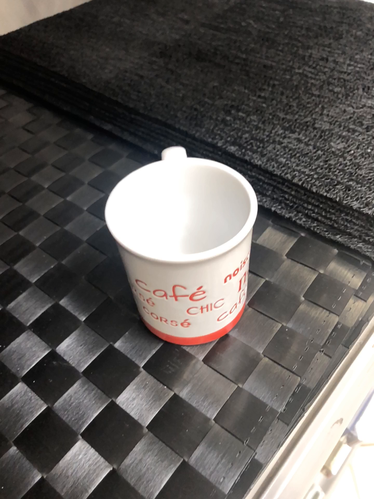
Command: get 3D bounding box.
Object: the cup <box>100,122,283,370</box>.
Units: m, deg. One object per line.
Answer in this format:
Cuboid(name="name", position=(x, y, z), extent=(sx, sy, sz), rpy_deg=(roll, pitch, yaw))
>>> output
Cuboid(name="cup", position=(-0.002, -0.005, 0.209), extent=(0.067, 0.064, 0.097), rpy_deg=(-8, 48, -3))
